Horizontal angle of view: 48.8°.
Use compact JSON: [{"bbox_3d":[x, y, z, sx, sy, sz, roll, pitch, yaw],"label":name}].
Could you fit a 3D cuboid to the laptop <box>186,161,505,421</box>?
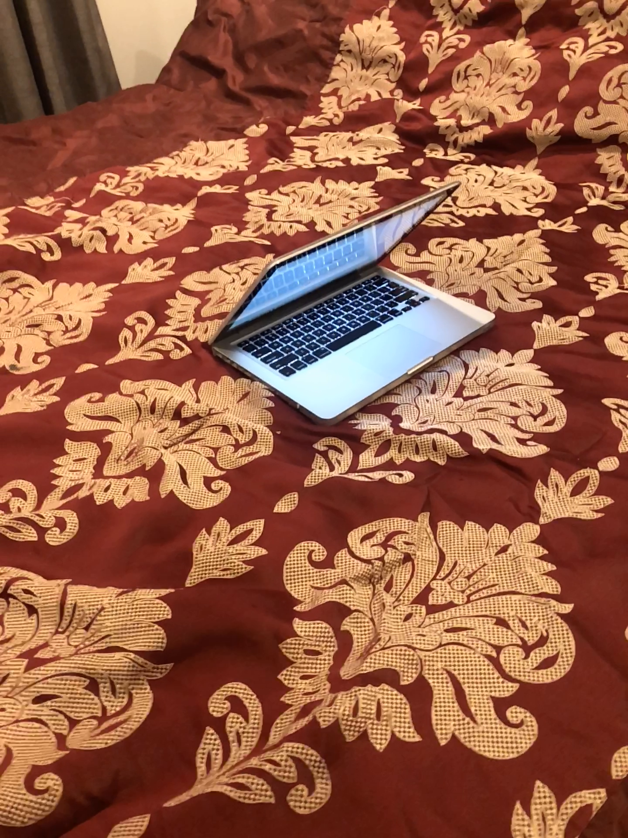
[{"bbox_3d":[0.046,-0.174,0.844,0.312,0.156,0.212,-32,46,-32],"label":"laptop"}]
